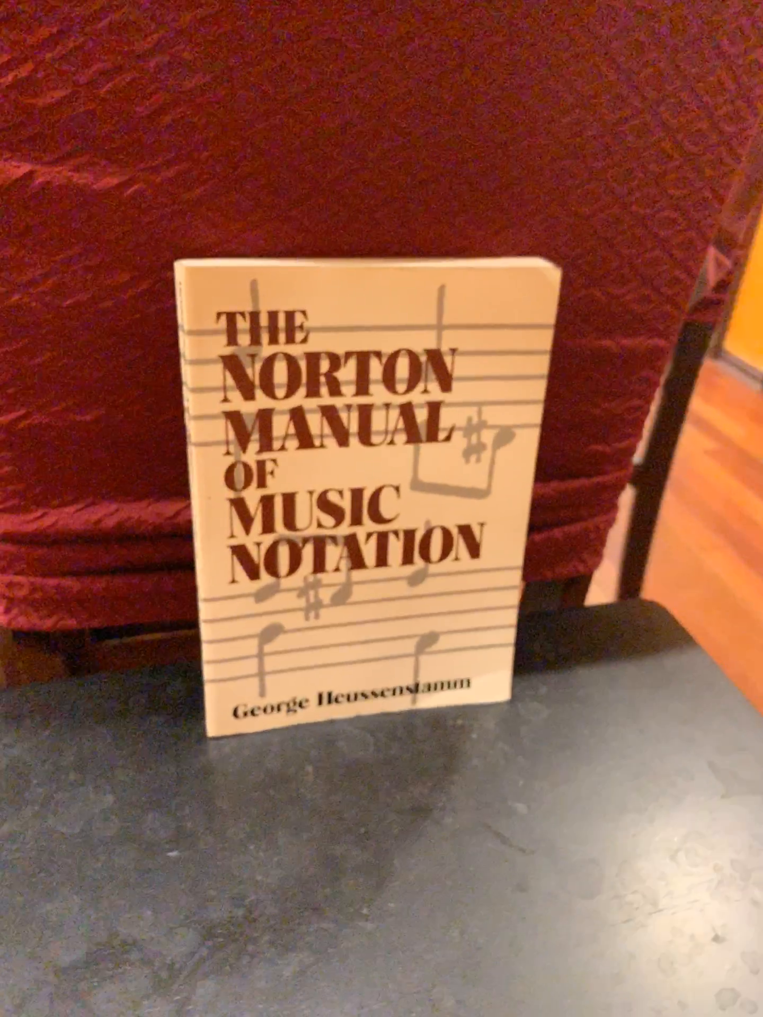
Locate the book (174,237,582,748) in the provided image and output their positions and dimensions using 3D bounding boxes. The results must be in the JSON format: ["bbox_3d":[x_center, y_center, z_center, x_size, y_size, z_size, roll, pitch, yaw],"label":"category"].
[{"bbox_3d":[-0.005,0.000,0.409,0.180,0.259,0.030,-4,25,-14],"label":"book"}]
